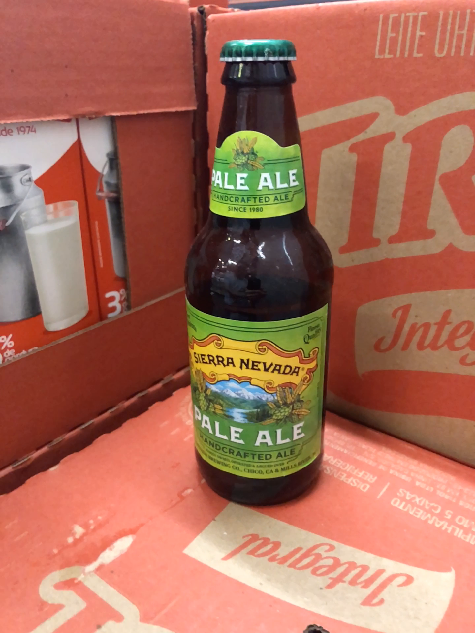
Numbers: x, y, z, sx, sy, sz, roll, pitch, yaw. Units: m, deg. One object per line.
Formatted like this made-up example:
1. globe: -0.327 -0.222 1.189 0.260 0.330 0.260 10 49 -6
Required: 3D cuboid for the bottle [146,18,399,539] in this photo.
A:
1. bottle: 0.014 -0.012 0.220 0.070 0.189 0.060 11 26 21
